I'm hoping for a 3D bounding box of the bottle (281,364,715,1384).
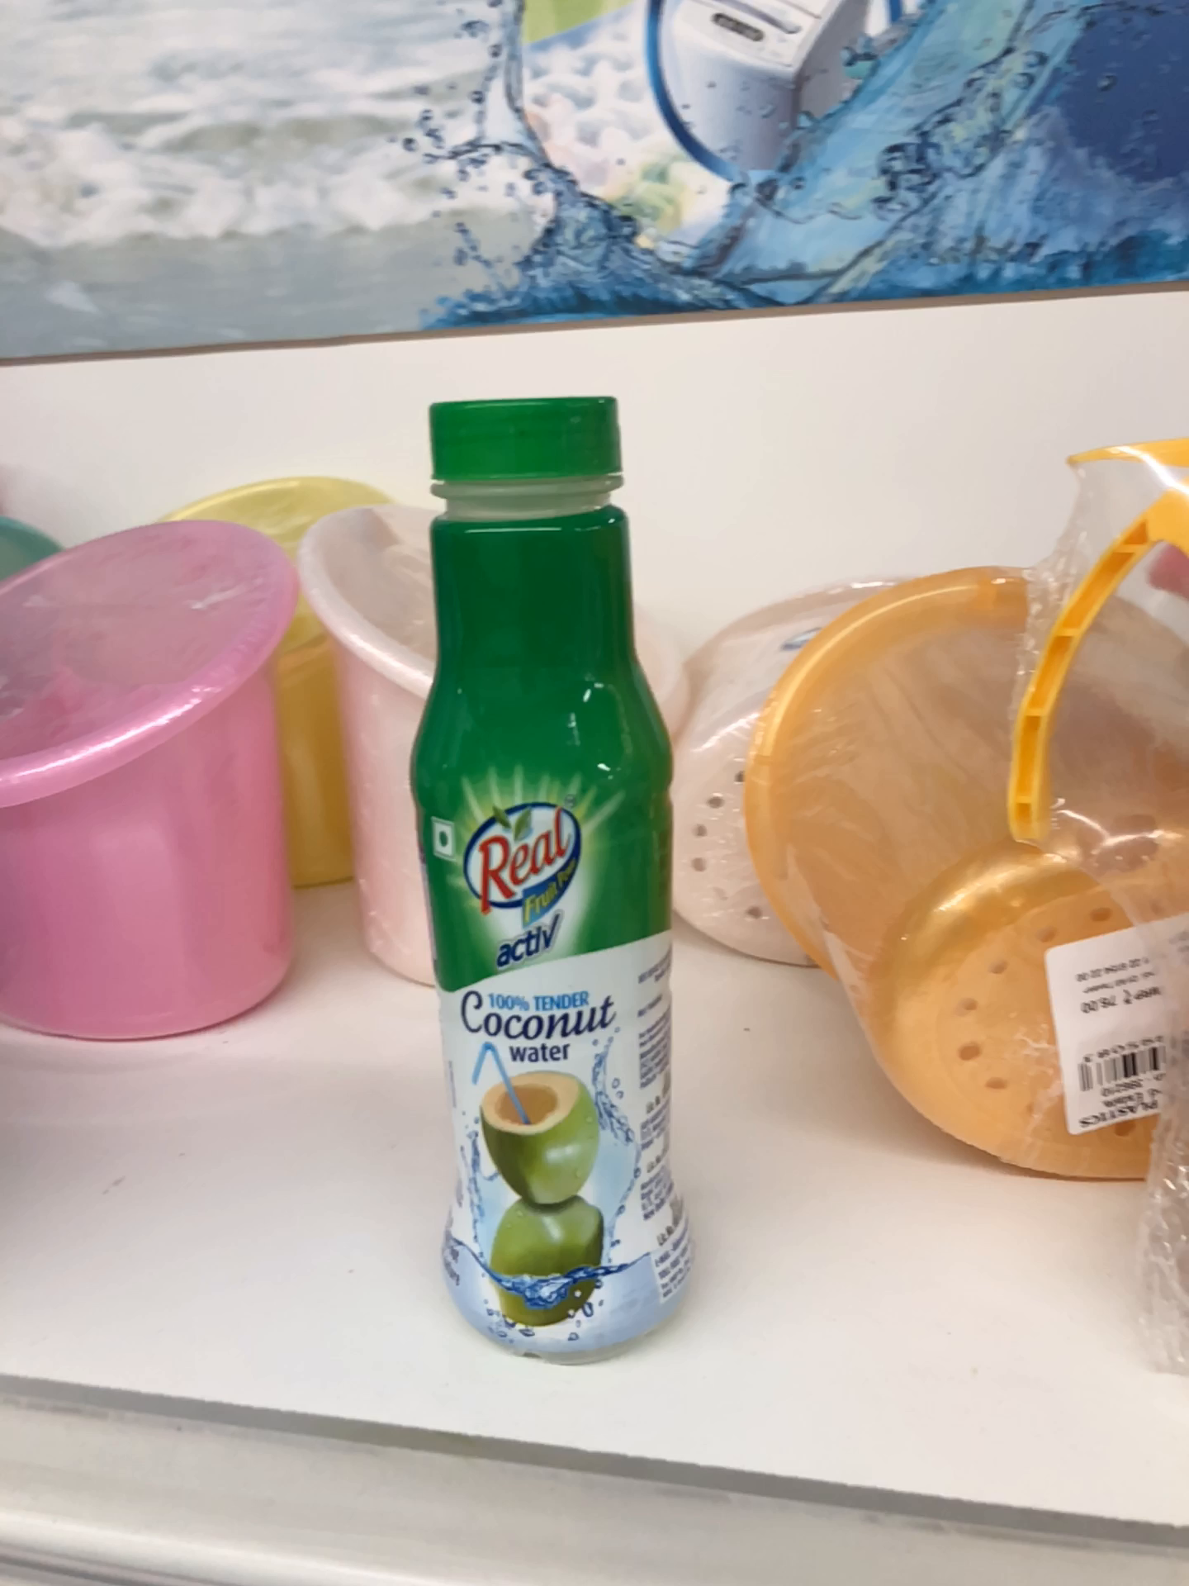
[{"bbox_3d":[-0.010,0.015,0.250,0.060,0.179,0.060,-3,17,1],"label":"bottle"}]
